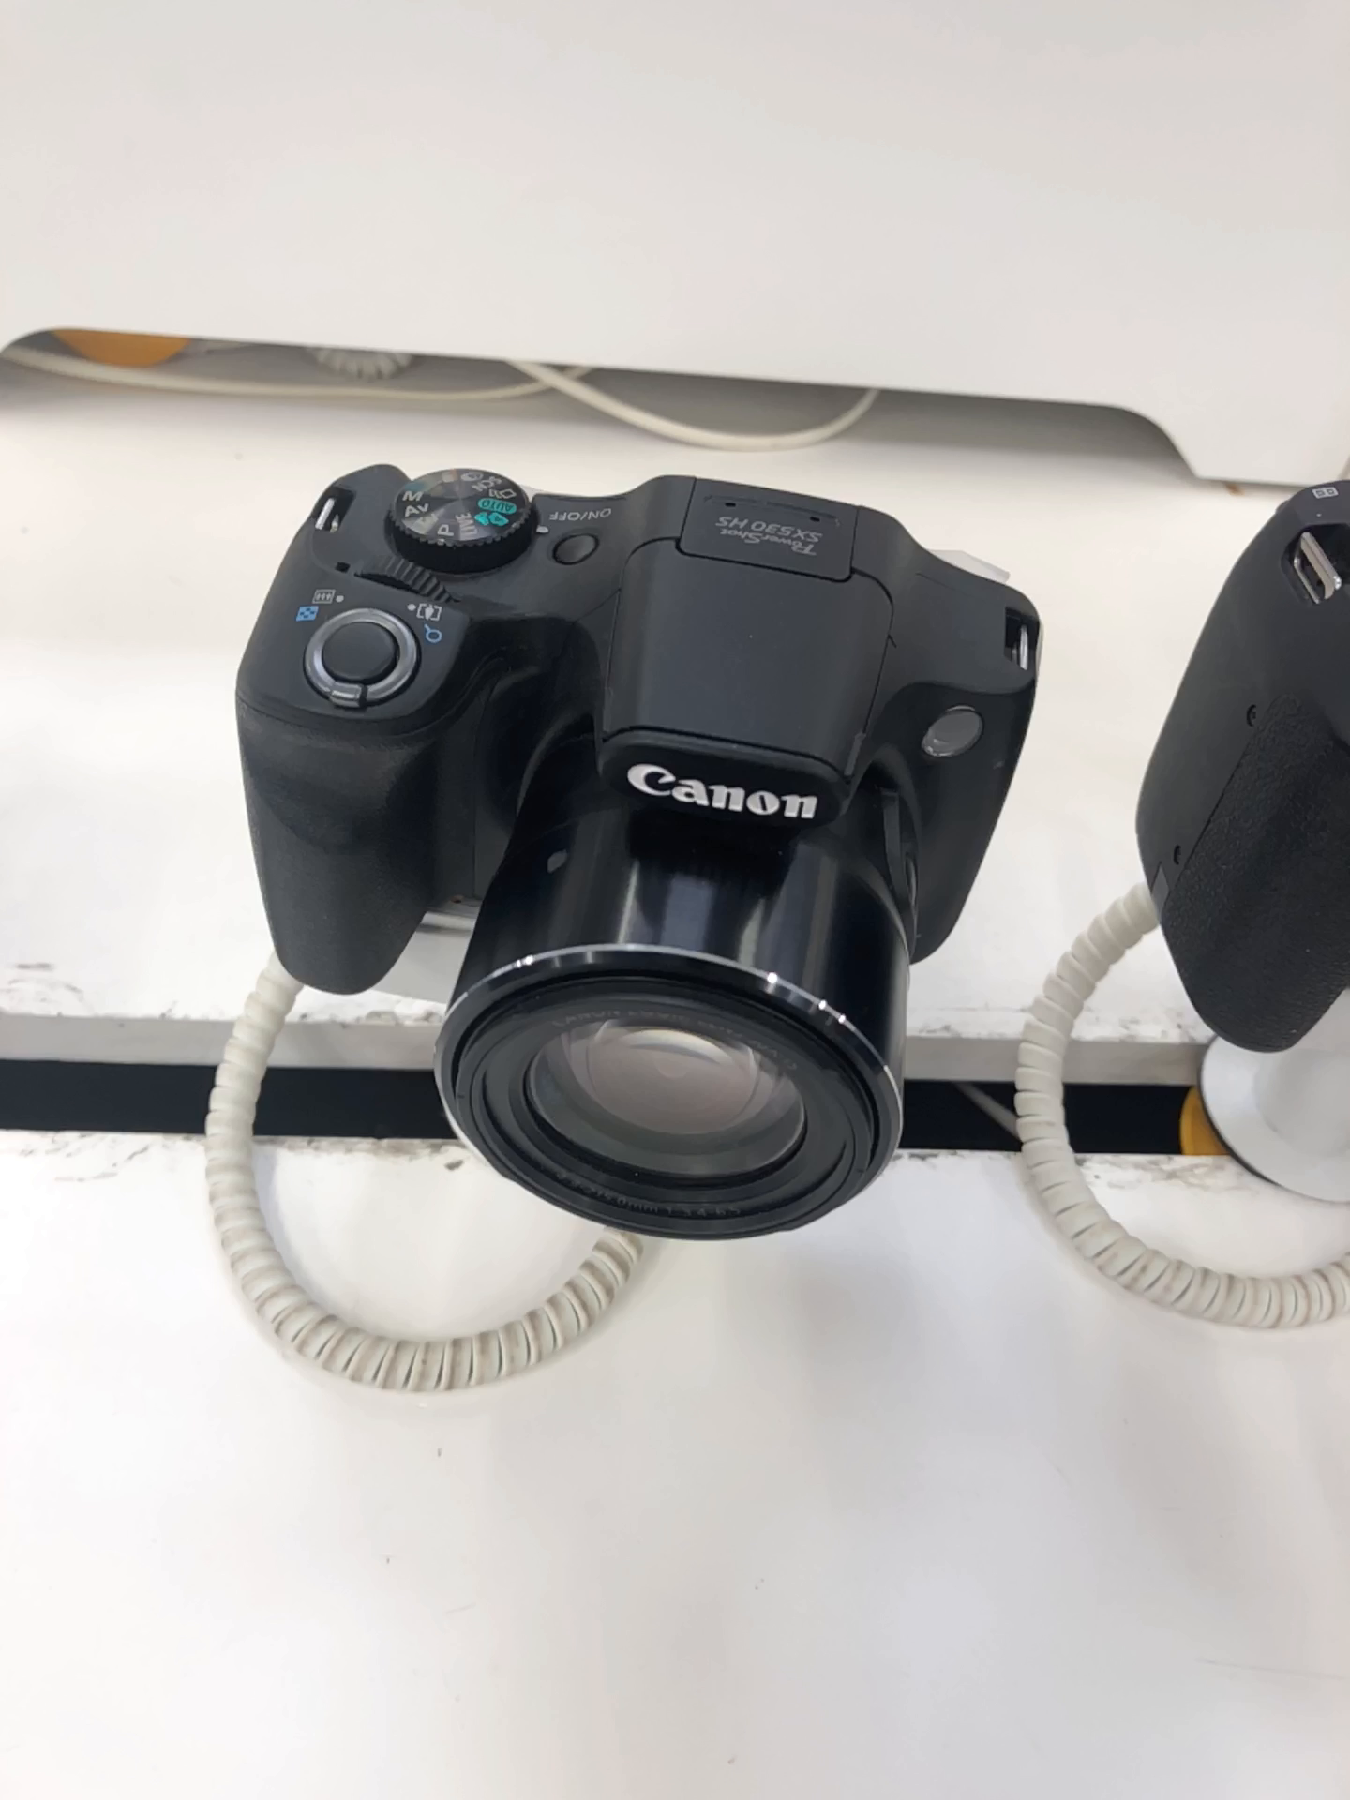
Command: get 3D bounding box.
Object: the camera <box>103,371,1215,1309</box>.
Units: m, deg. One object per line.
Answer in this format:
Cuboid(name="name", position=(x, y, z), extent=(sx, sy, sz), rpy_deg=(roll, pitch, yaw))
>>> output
Cuboid(name="camera", position=(-0.001, -0.007, 0.220), extent=(0.120, 0.089, 0.080), rpy_deg=(9, 49, 0))
